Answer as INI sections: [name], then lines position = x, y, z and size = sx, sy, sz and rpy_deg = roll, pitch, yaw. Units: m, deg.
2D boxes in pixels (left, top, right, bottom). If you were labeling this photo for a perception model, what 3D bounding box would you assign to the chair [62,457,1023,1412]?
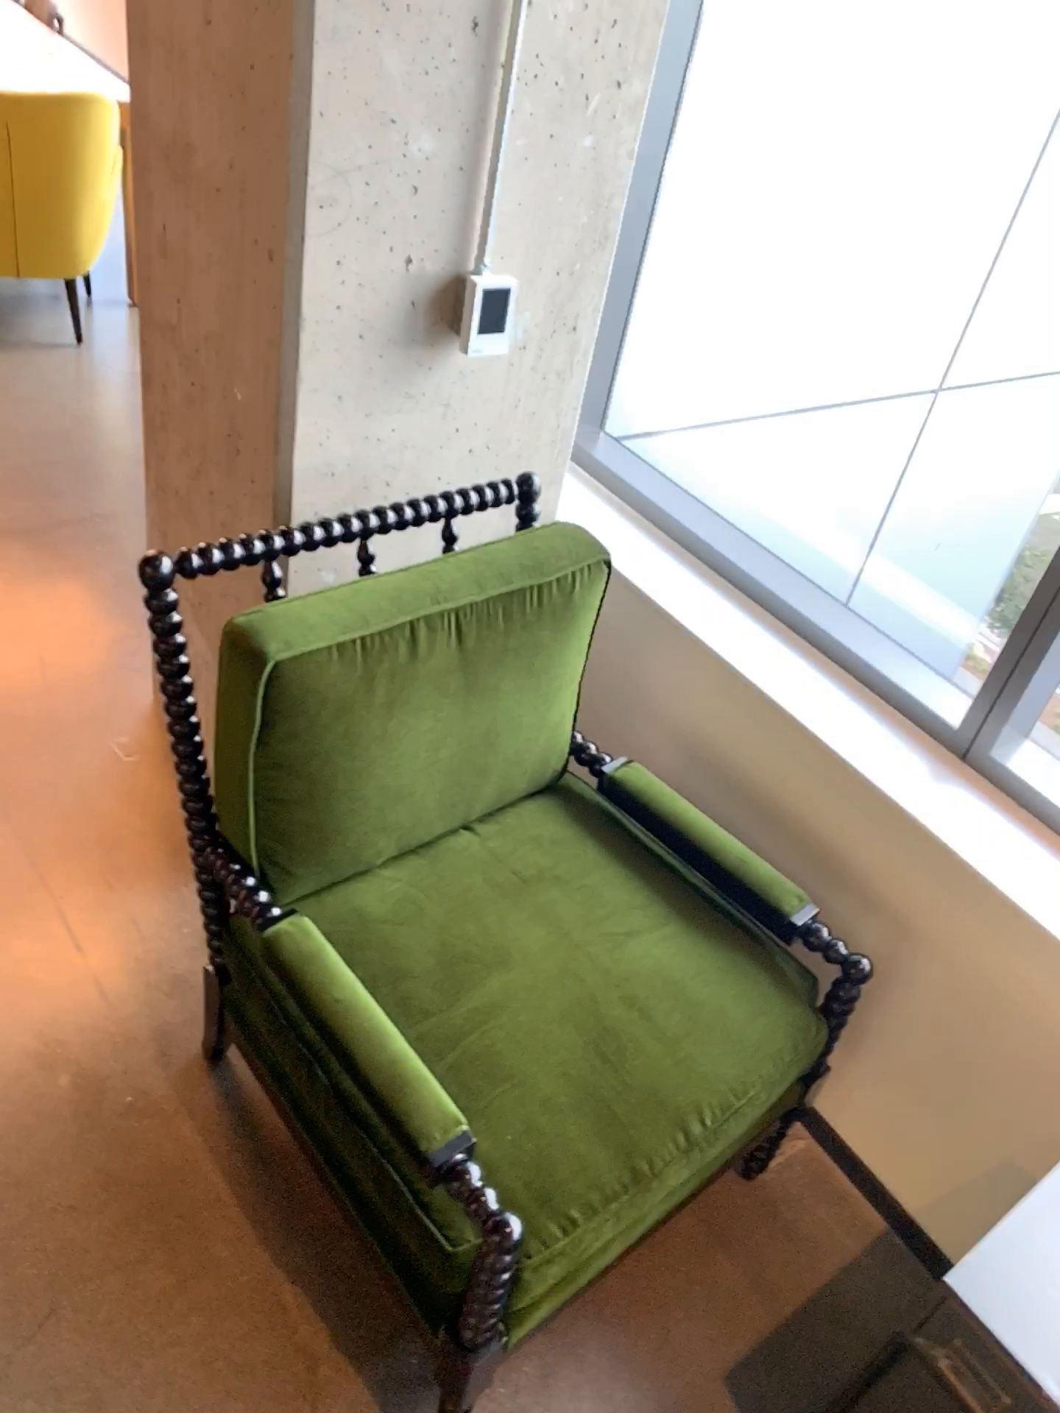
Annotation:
[chair]
position = -0.060, 0.312, 1.627
size = 0.842, 0.925, 0.912
rpy_deg = -22, 50, -37
